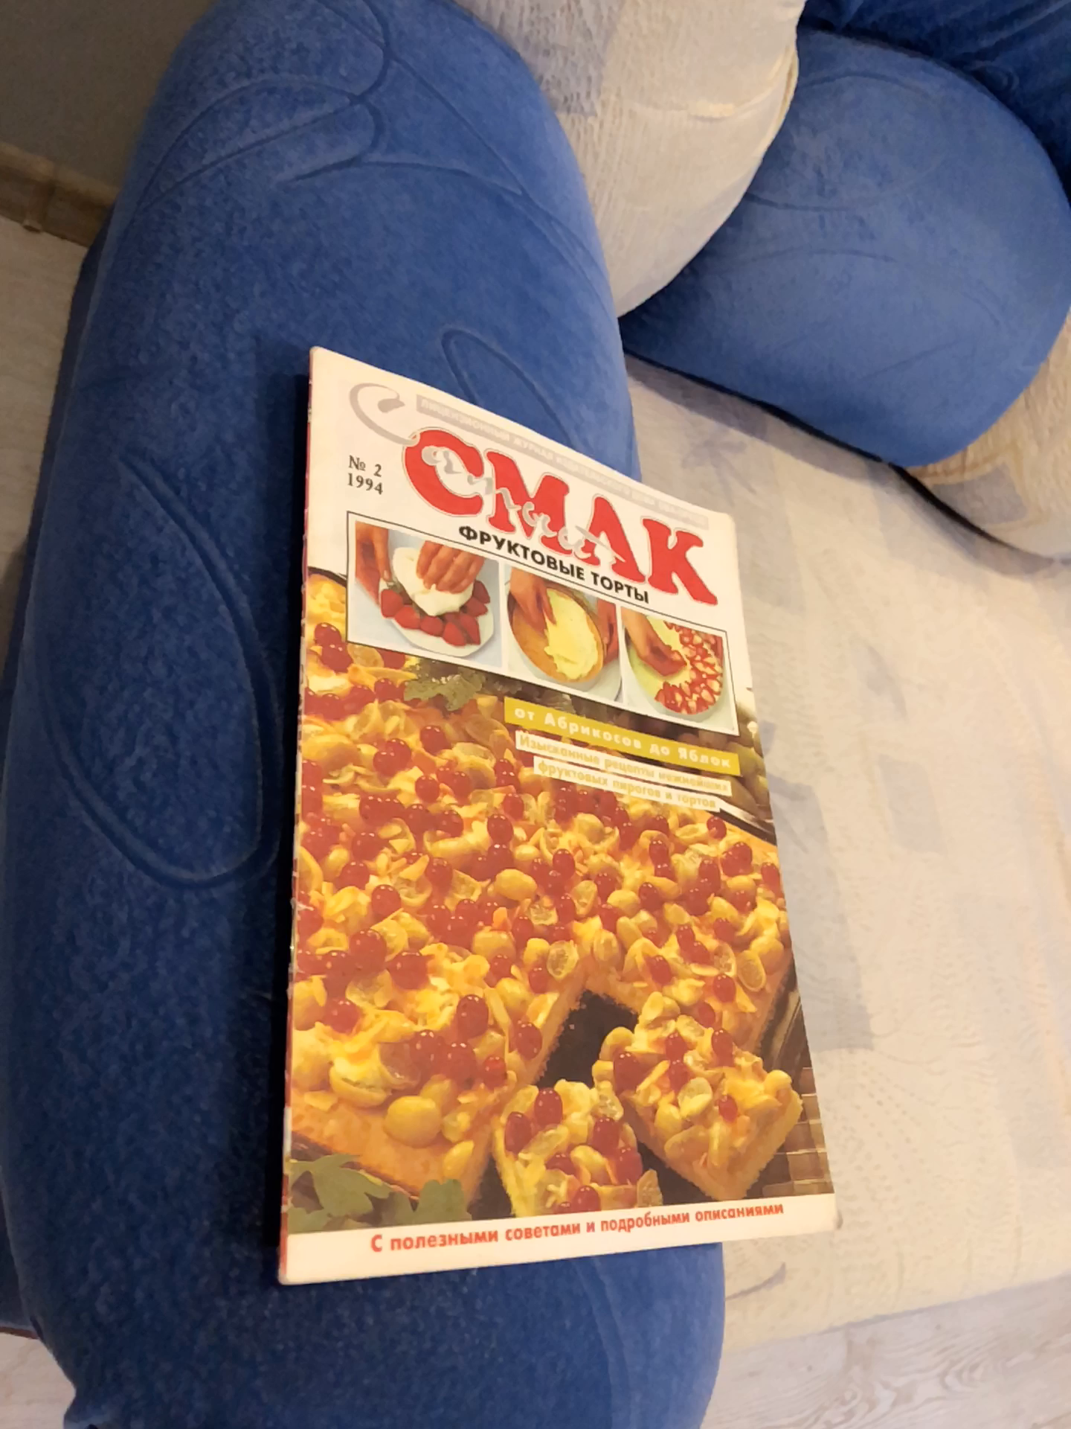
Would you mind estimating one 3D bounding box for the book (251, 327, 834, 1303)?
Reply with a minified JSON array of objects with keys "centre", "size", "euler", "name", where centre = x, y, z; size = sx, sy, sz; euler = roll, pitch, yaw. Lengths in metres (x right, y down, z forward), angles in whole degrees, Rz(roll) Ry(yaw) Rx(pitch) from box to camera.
[{"centre":[0.009,0.024,0.329],"size":[0.172,0.010,0.236],"euler":[13,64,-35],"name":"book"}]
